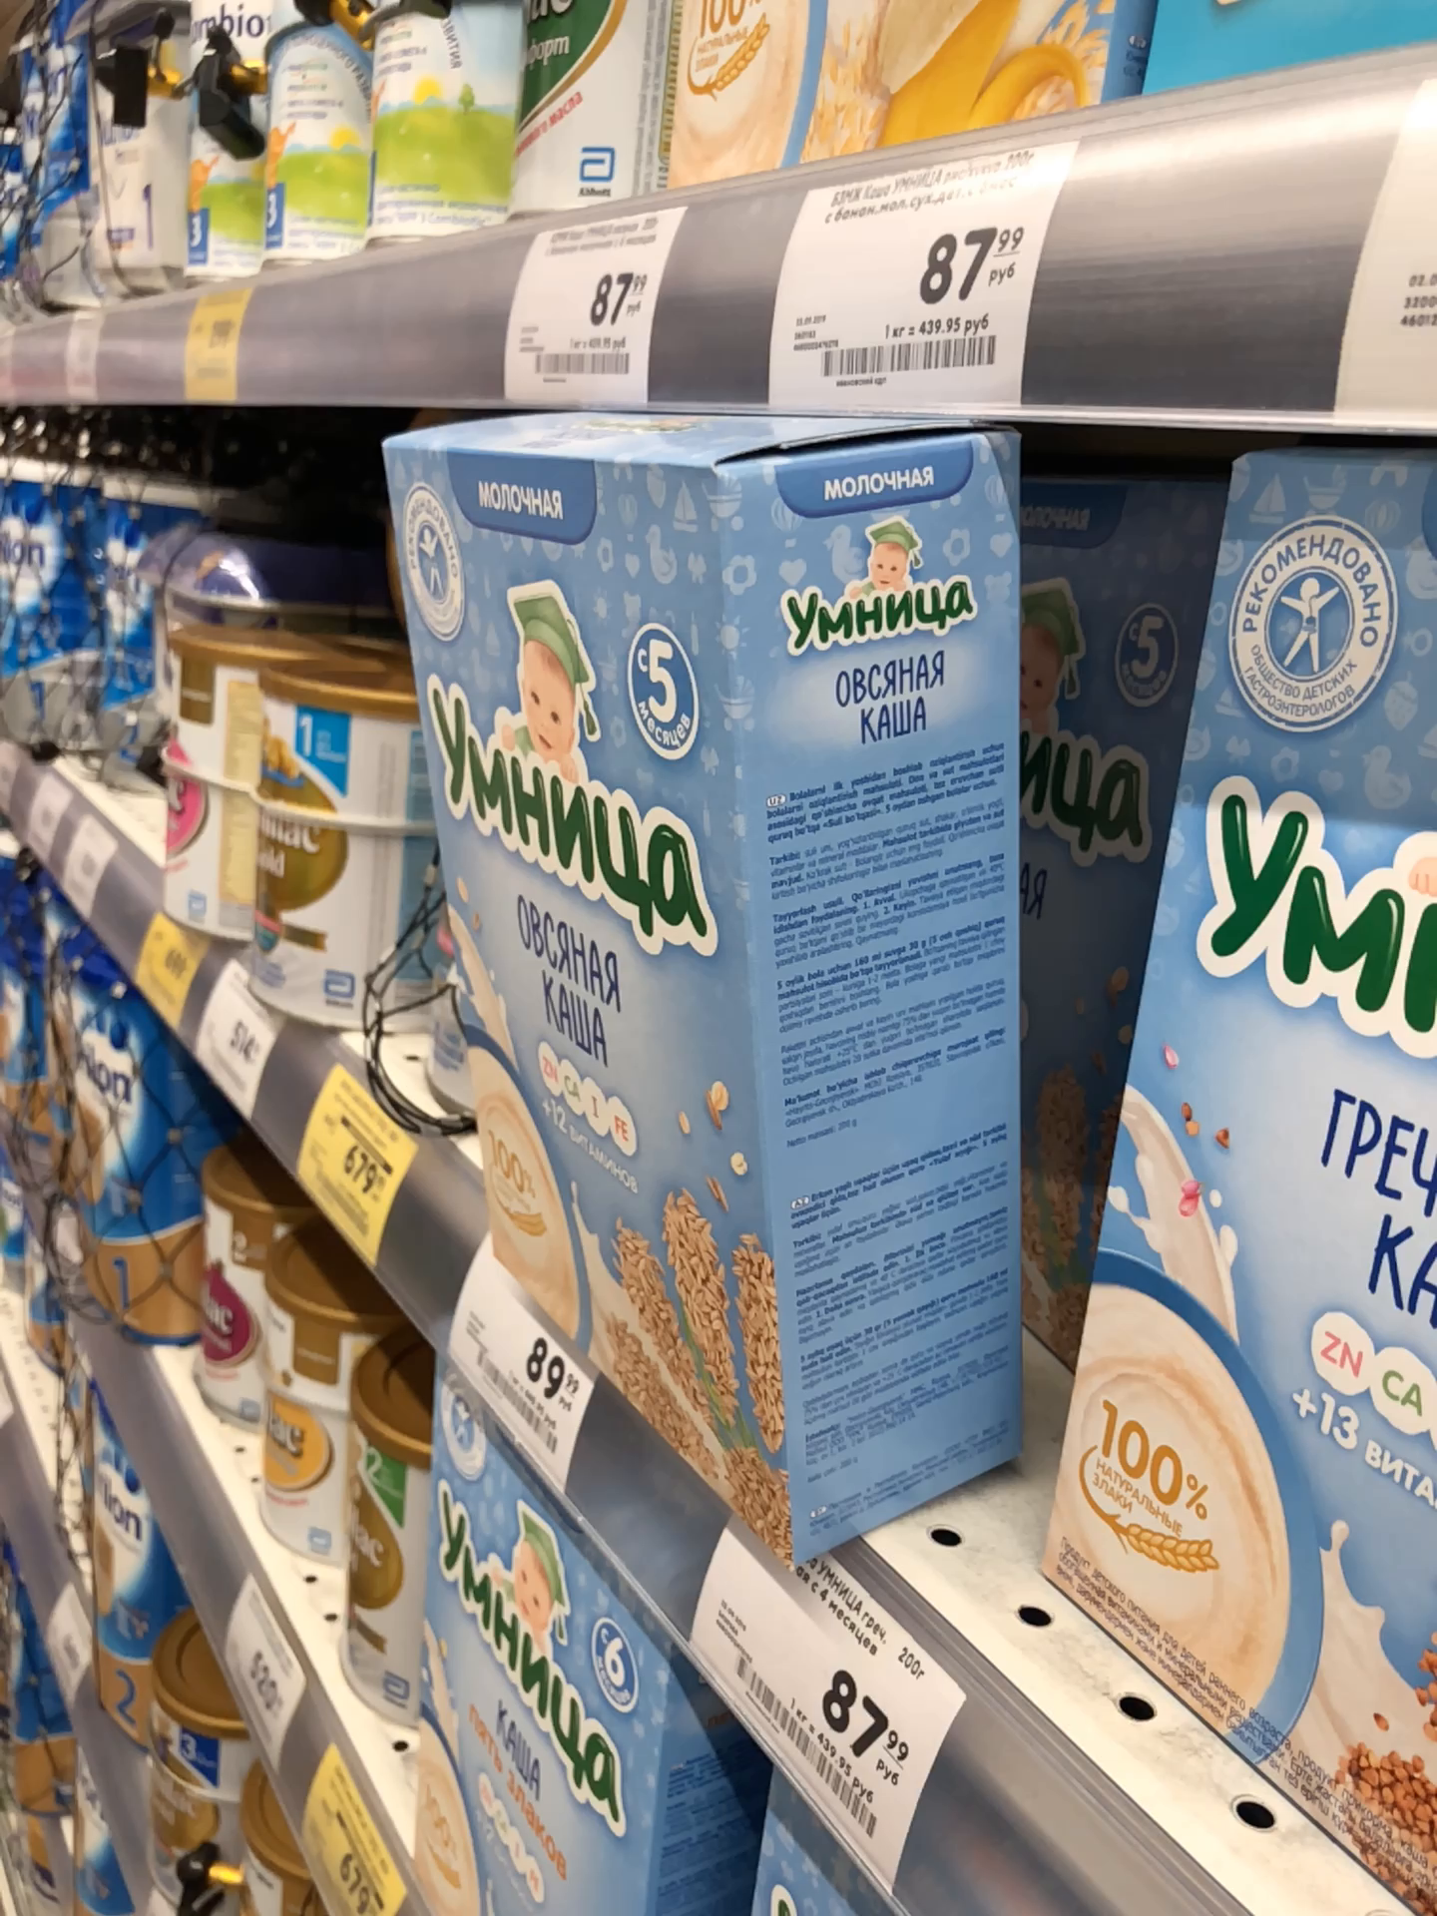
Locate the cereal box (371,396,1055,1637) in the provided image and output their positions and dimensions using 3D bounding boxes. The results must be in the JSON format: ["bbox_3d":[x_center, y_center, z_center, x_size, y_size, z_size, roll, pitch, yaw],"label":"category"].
[{"bbox_3d":[-0.003,0.000,0.326,0.060,0.209,0.140,-16,23,-26],"label":"cereal box"}]
